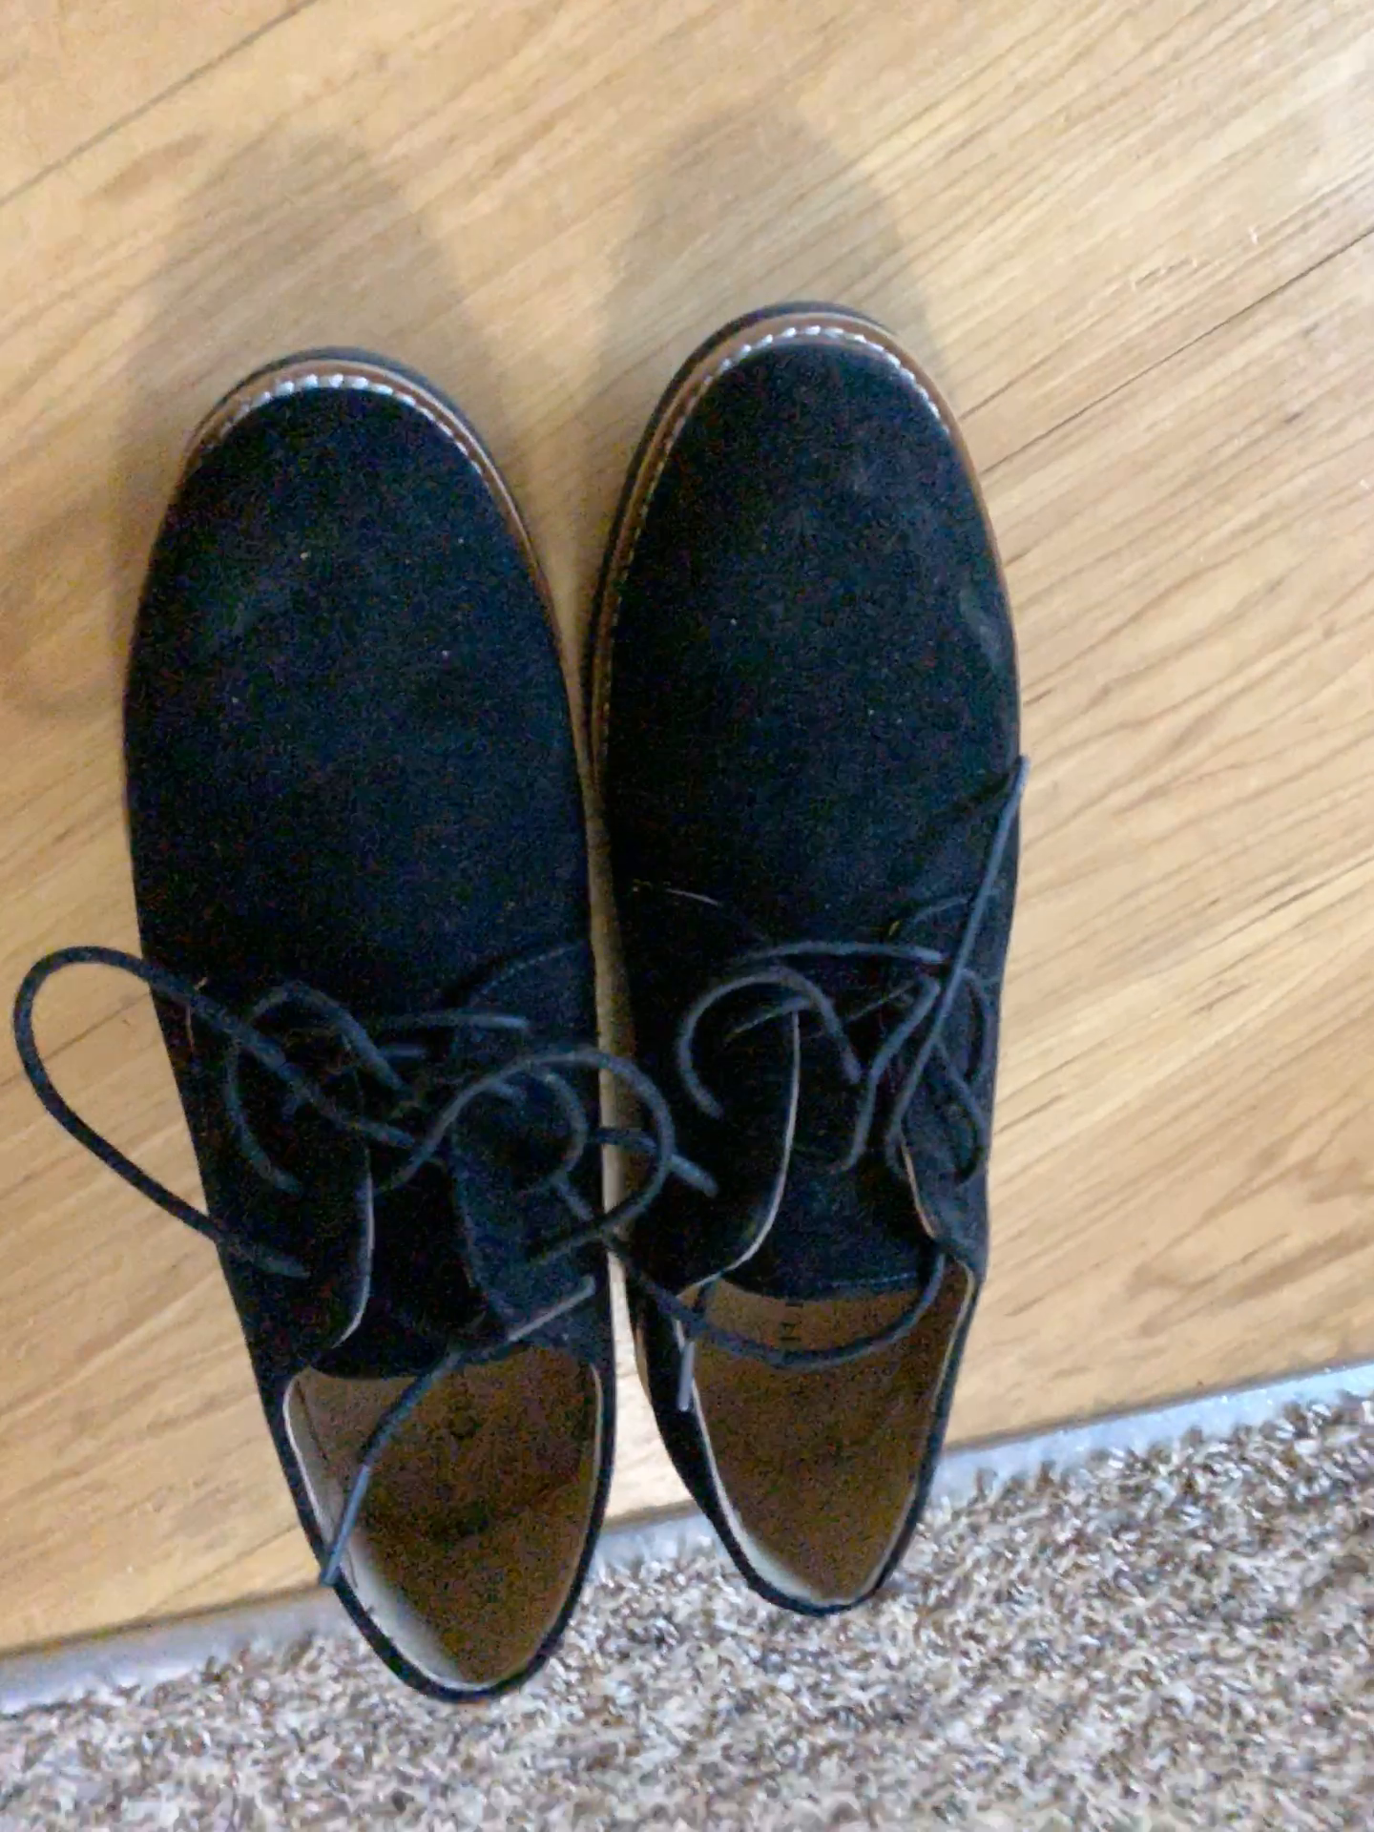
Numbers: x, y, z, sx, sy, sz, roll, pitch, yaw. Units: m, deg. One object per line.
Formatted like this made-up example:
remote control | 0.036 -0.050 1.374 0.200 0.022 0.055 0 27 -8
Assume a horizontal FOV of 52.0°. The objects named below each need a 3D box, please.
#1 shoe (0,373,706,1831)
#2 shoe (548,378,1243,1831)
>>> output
shoe | -0.064 0.057 0.297 0.100 0.070 0.311 -8 110 -6
shoe | 0.033 0.050 0.308 0.110 0.070 0.311 -3 110 -8
